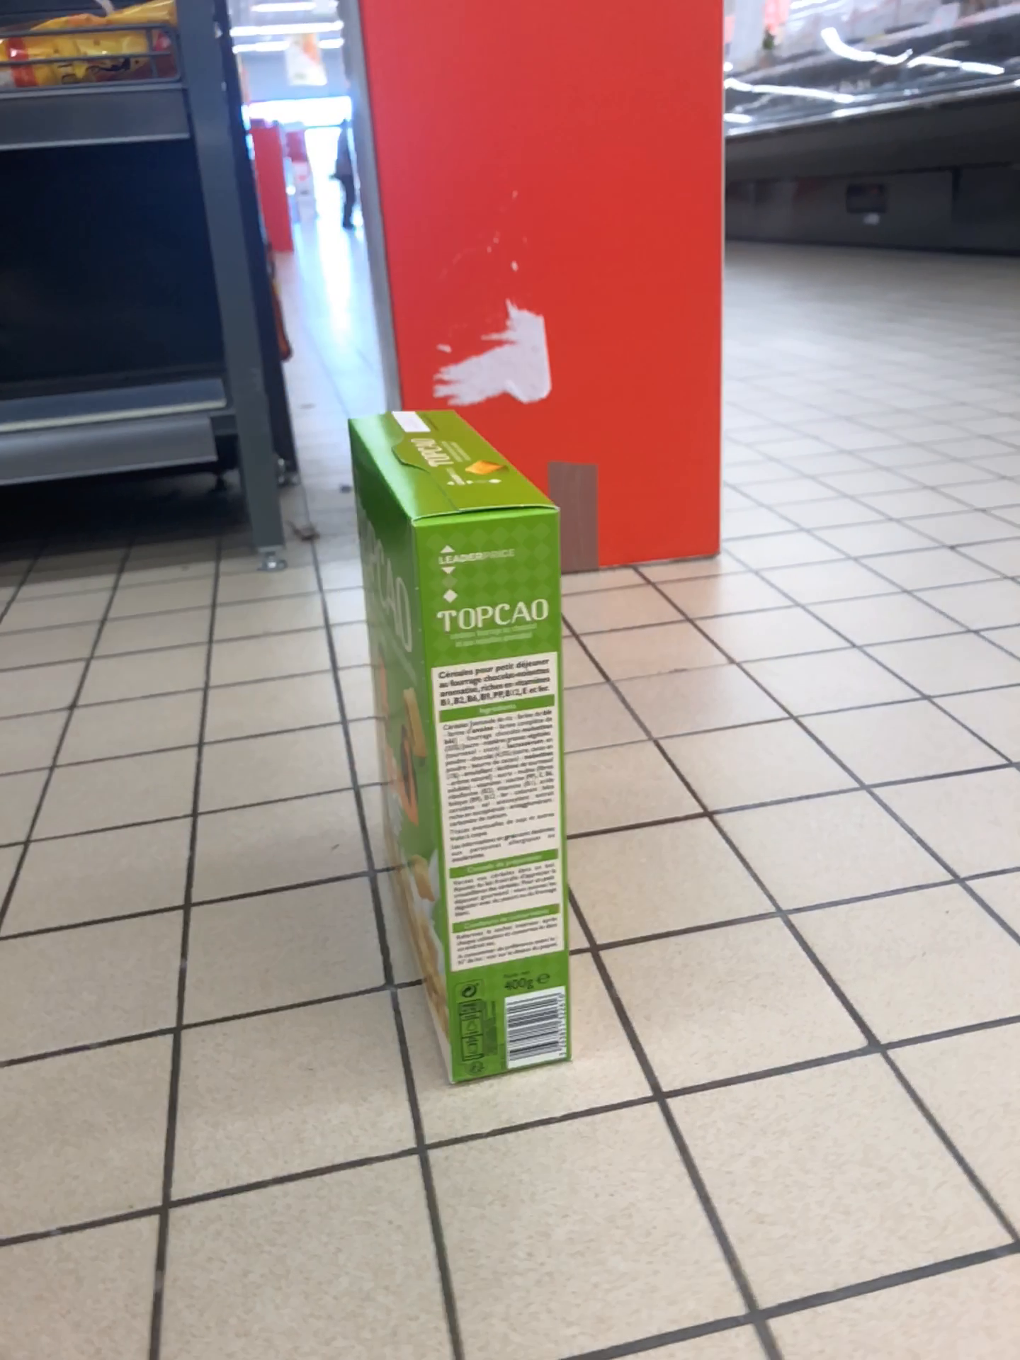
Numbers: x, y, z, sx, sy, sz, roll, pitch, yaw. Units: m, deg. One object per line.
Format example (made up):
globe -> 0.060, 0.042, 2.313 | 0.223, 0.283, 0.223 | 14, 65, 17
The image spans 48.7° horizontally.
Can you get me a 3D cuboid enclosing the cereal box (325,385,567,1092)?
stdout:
cereal box -> -0.034, 0.012, 0.508 | 0.060, 0.249, 0.201 | -6, 25, -13
